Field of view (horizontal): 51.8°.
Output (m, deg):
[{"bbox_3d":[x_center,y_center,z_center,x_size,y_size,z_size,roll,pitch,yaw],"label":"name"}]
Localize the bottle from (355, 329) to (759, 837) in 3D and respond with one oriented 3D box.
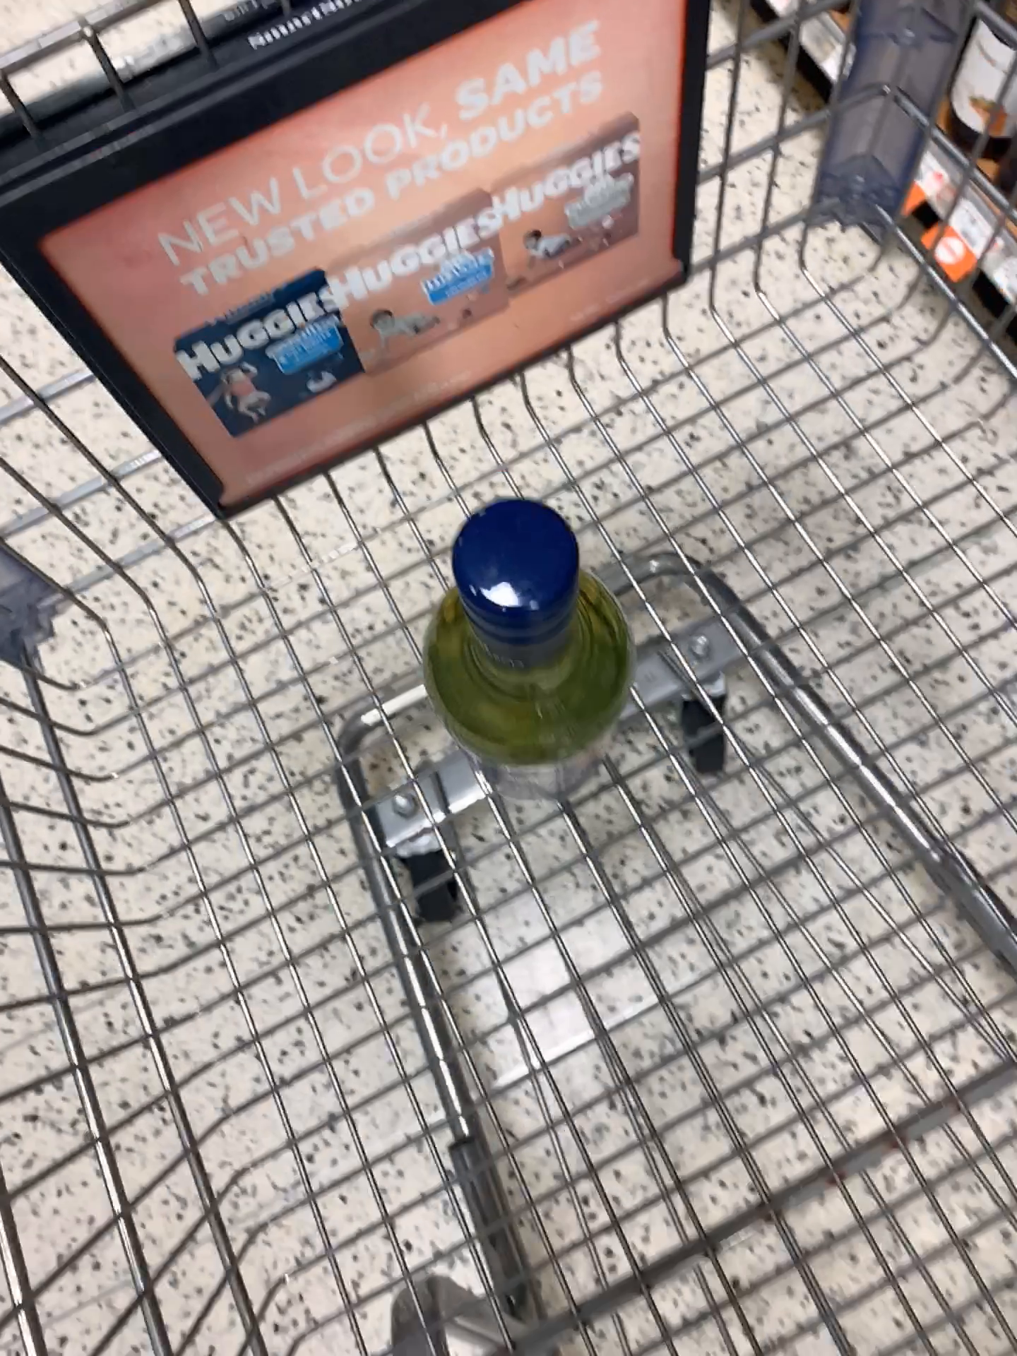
[{"bbox_3d":[0.014,-0.007,0.398,0.090,0.279,0.080,-9,73,-1],"label":"bottle"}]
